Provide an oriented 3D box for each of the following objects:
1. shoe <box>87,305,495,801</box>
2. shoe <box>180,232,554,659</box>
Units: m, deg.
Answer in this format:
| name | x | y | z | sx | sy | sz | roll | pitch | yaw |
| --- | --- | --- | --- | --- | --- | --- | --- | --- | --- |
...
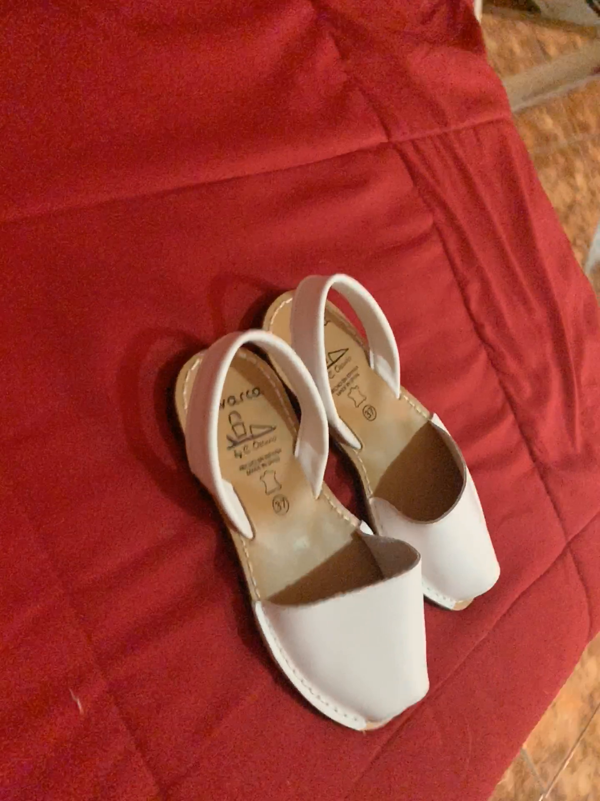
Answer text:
| name | x | y | z | sx | sy | sz | roll | pitch | yaw |
| --- | --- | --- | --- | --- | --- | --- | --- | --- | --- |
| shoe | 0.002 | 0.087 | 0.337 | 0.108 | 0.063 | 0.248 | -32 | 97 | -37 |
| shoe | 0.053 | 0.033 | 0.389 | 0.249 | 0.063 | 0.104 | 52 | 55 | -14 |
